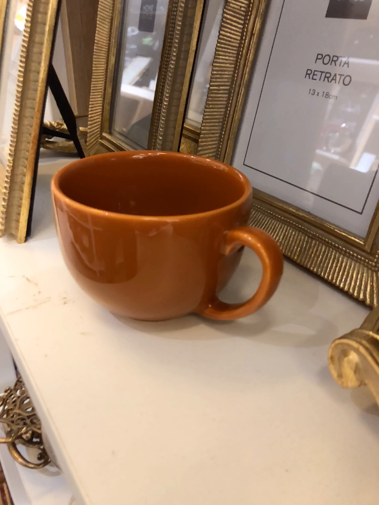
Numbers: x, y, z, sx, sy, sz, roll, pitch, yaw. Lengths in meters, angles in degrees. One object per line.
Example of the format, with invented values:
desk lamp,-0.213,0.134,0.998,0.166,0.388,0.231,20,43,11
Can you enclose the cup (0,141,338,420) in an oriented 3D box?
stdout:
cup,-0.012,-0.003,0.199,0.120,0.060,0.090,24,37,35
